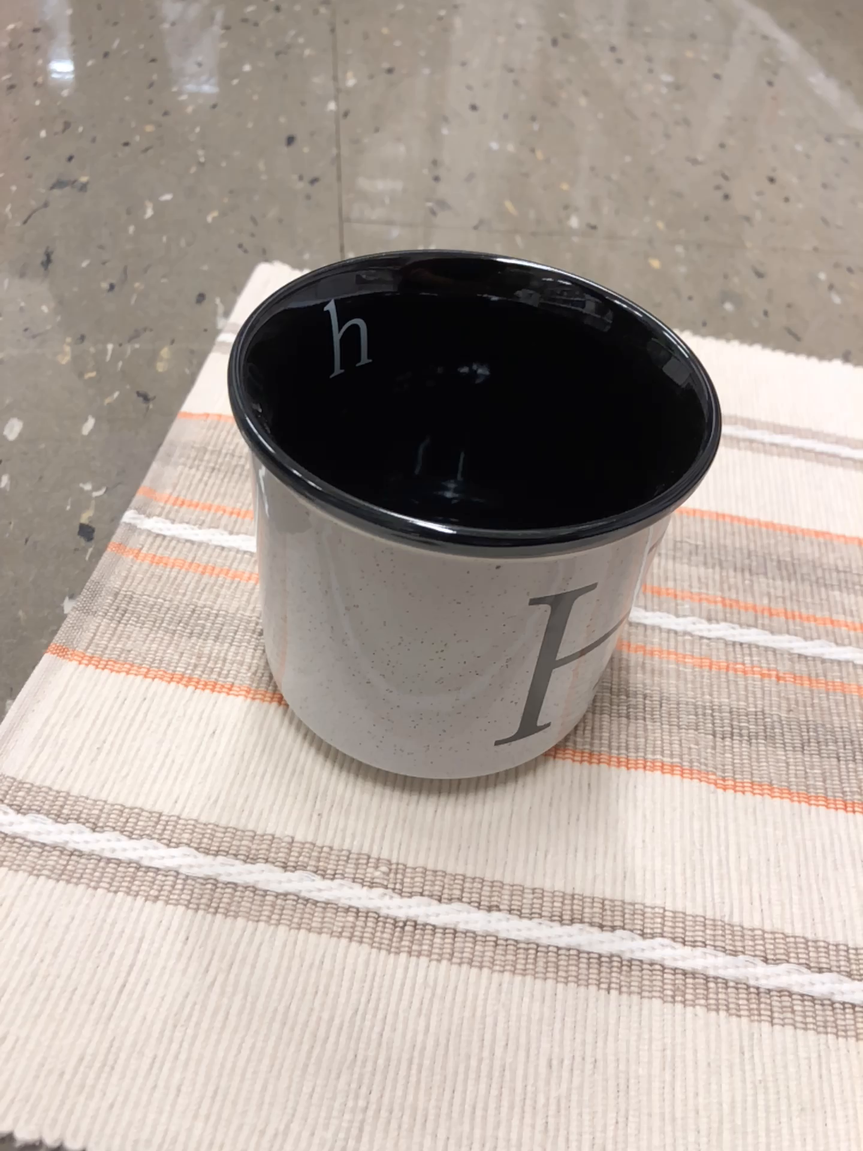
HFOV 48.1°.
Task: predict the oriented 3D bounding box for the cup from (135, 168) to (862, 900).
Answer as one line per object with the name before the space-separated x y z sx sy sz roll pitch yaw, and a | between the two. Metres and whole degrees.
cup | 0.020 -0.019 0.244 0.140 0.100 0.100 -29 57 -31
